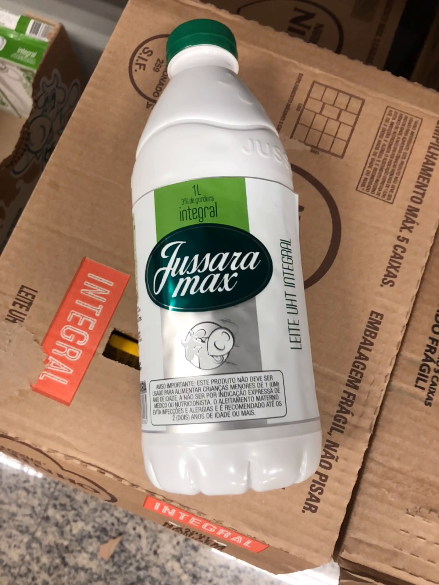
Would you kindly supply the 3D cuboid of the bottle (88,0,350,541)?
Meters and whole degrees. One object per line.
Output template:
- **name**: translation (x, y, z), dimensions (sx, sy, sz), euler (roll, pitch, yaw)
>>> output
- **bottle**: translation (-0.003, -0.025, 0.228), dimensions (0.090, 0.060, 0.240), euler (-4, 85, 0)
